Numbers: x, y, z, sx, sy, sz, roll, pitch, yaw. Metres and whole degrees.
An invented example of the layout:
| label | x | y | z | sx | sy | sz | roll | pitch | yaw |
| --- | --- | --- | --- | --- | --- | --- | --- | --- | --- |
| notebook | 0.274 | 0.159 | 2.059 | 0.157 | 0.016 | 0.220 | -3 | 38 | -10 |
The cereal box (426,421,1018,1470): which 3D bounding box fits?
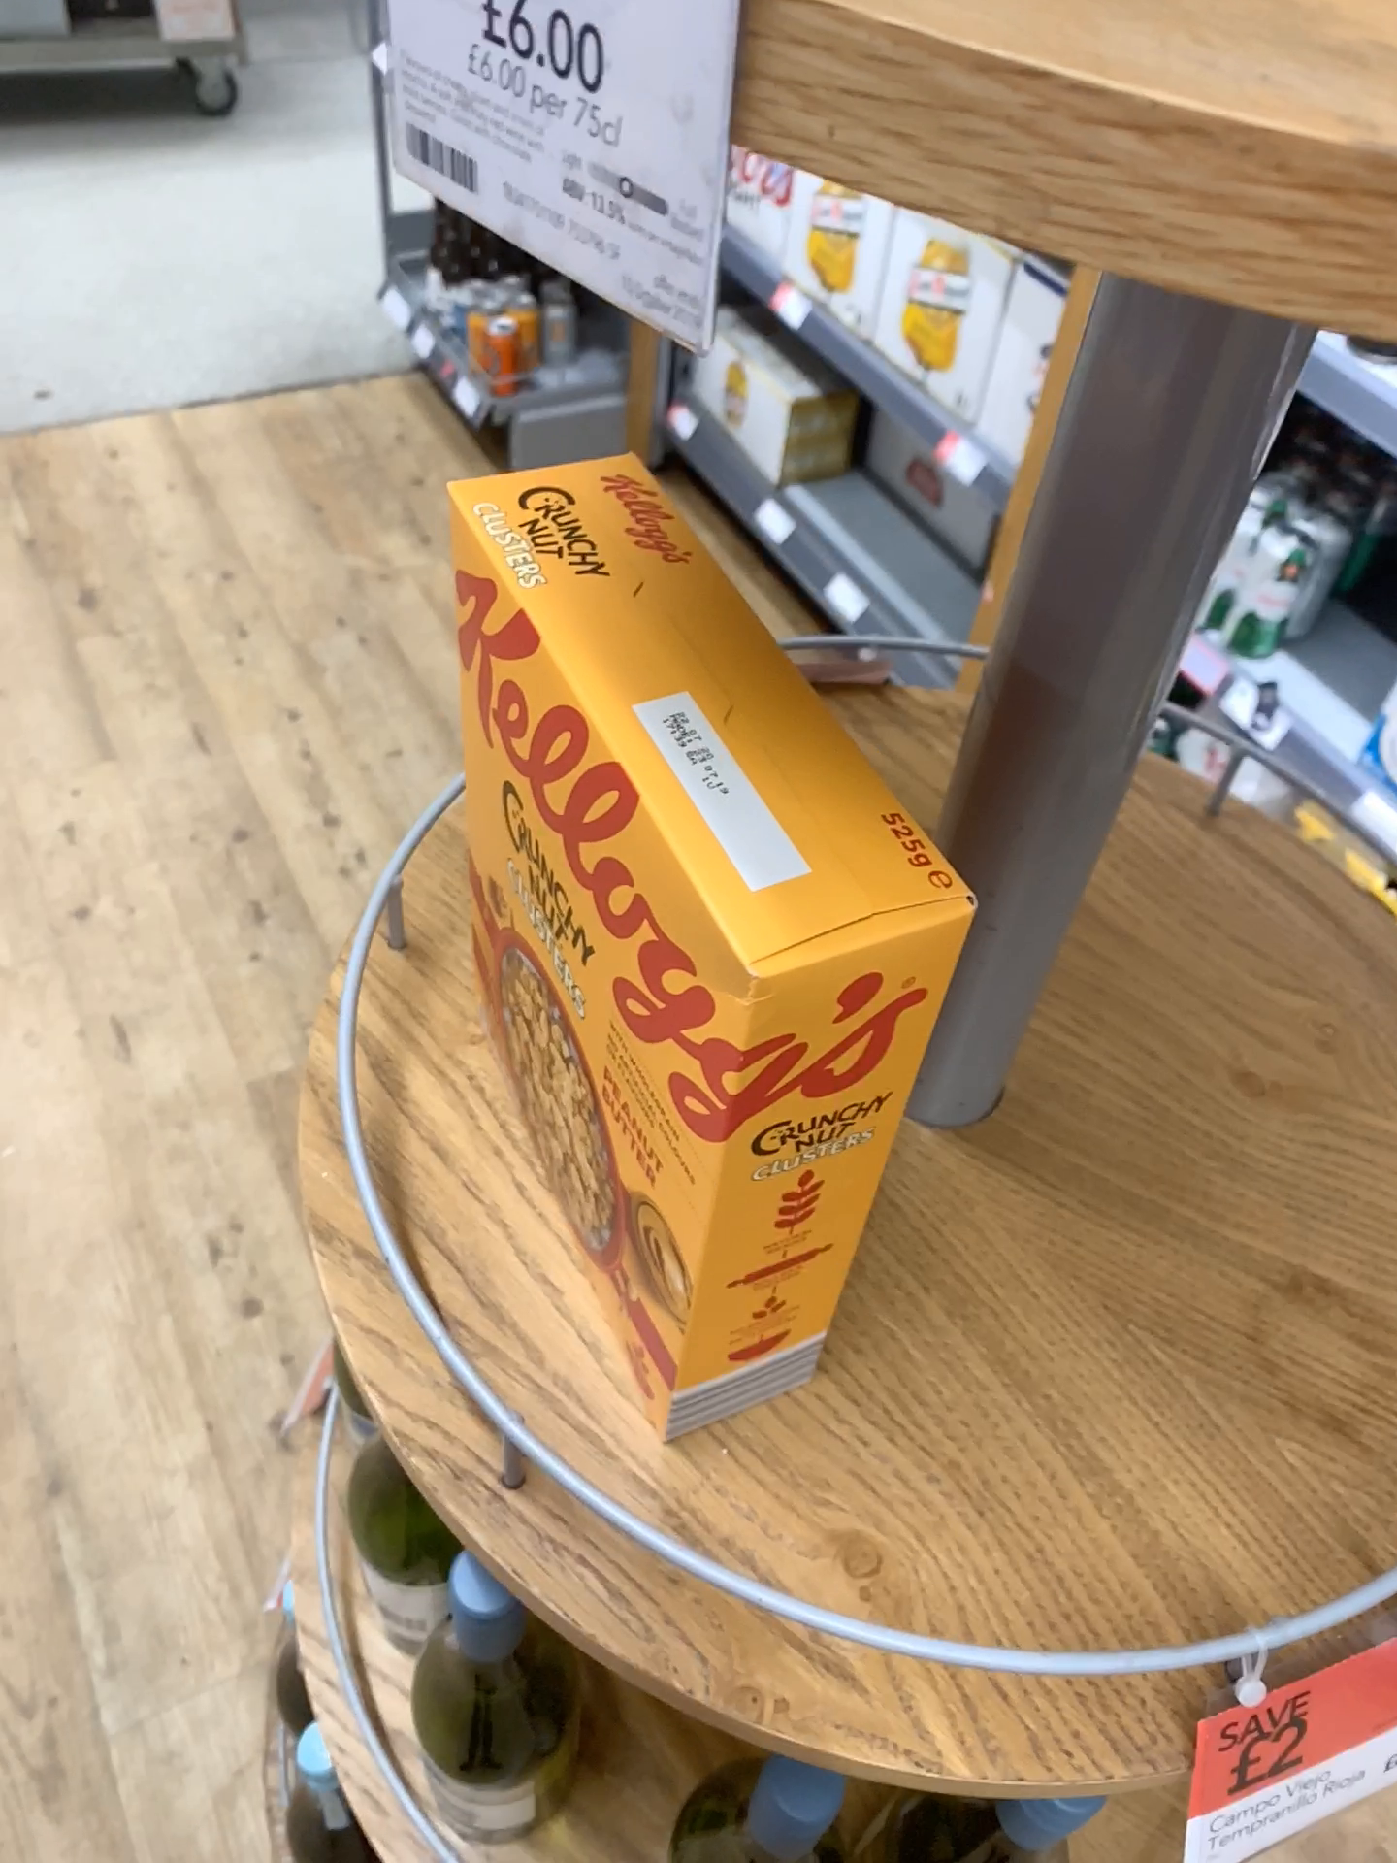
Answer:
| label | x | y | z | sx | sy | sz | roll | pitch | yaw |
| --- | --- | --- | --- | --- | --- | --- | --- | --- | --- |
| cereal box | -0.015 | 0.010 | 0.442 | 0.060 | 0.238 | 0.212 | -16 | 52 | -20 |
